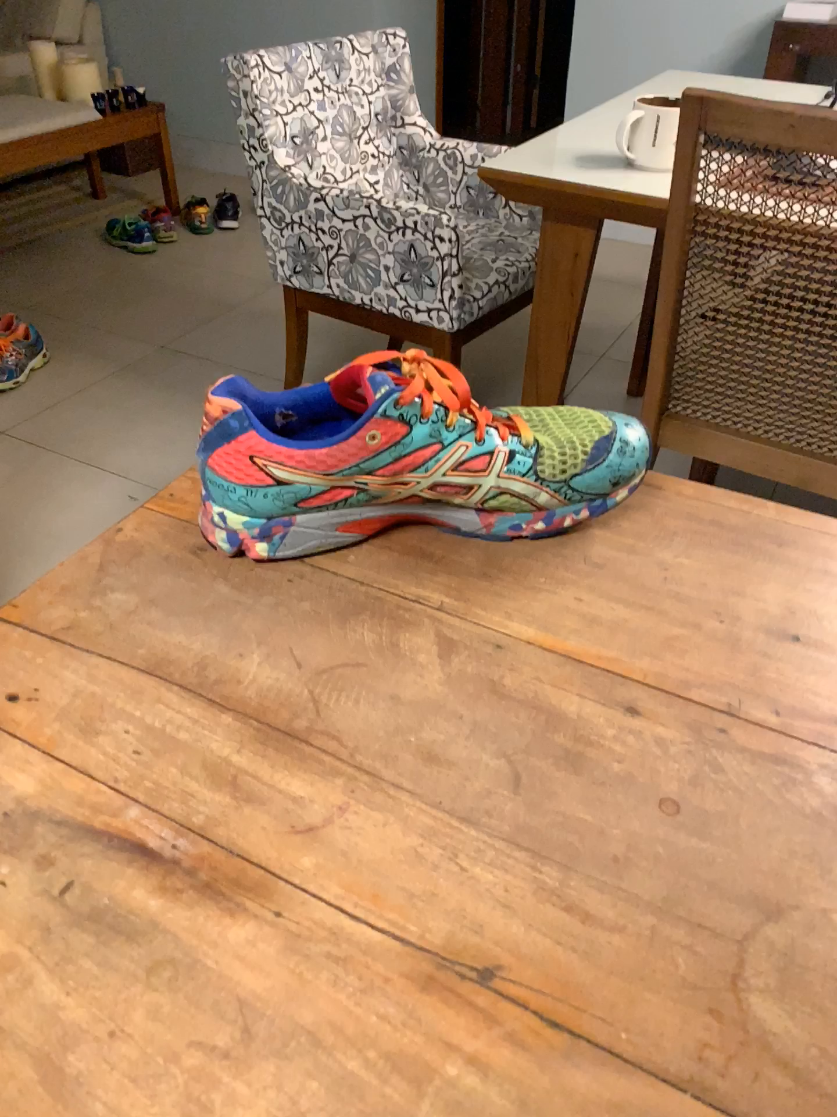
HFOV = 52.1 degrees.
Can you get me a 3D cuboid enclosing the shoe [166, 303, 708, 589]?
[{"bbox_3d":[0.007,-0.078,0.559,0.310,0.118,0.111,-6,39,-8],"label":"shoe"}]
